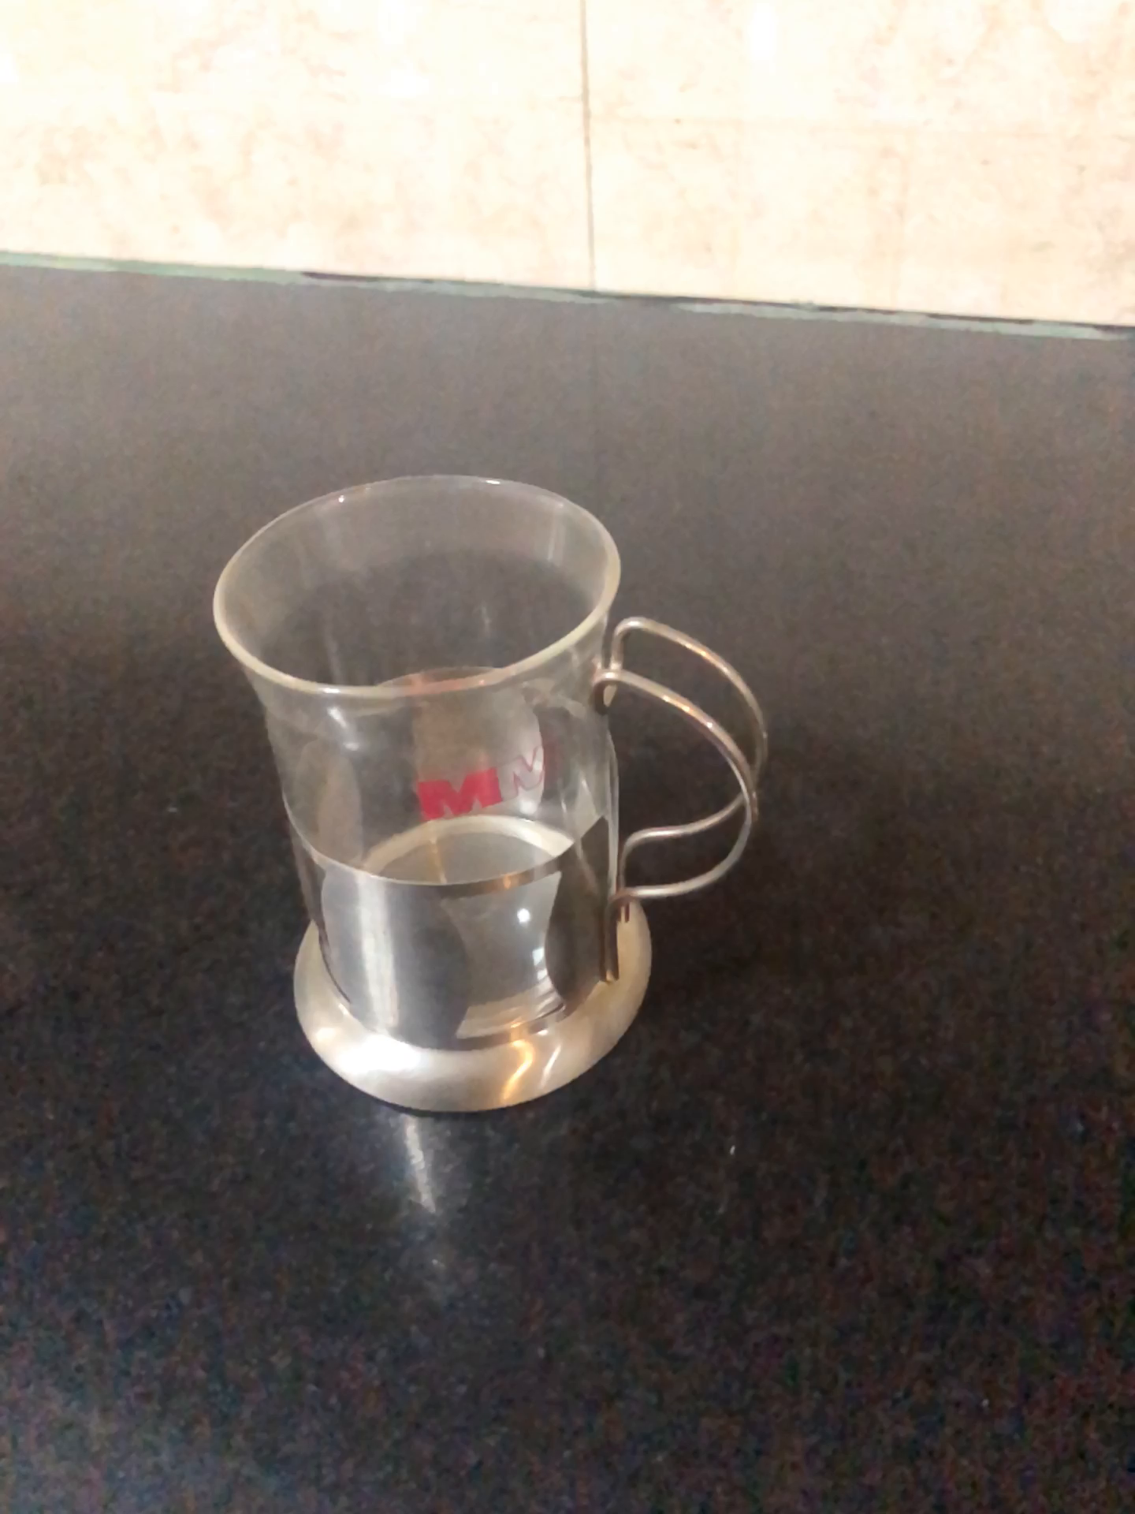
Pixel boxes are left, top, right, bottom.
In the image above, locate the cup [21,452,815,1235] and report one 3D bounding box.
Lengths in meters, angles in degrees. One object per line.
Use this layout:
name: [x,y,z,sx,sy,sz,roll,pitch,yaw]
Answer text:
cup: [-0.017,0.014,0.245,0.110,0.109,0.080,9,42,14]
